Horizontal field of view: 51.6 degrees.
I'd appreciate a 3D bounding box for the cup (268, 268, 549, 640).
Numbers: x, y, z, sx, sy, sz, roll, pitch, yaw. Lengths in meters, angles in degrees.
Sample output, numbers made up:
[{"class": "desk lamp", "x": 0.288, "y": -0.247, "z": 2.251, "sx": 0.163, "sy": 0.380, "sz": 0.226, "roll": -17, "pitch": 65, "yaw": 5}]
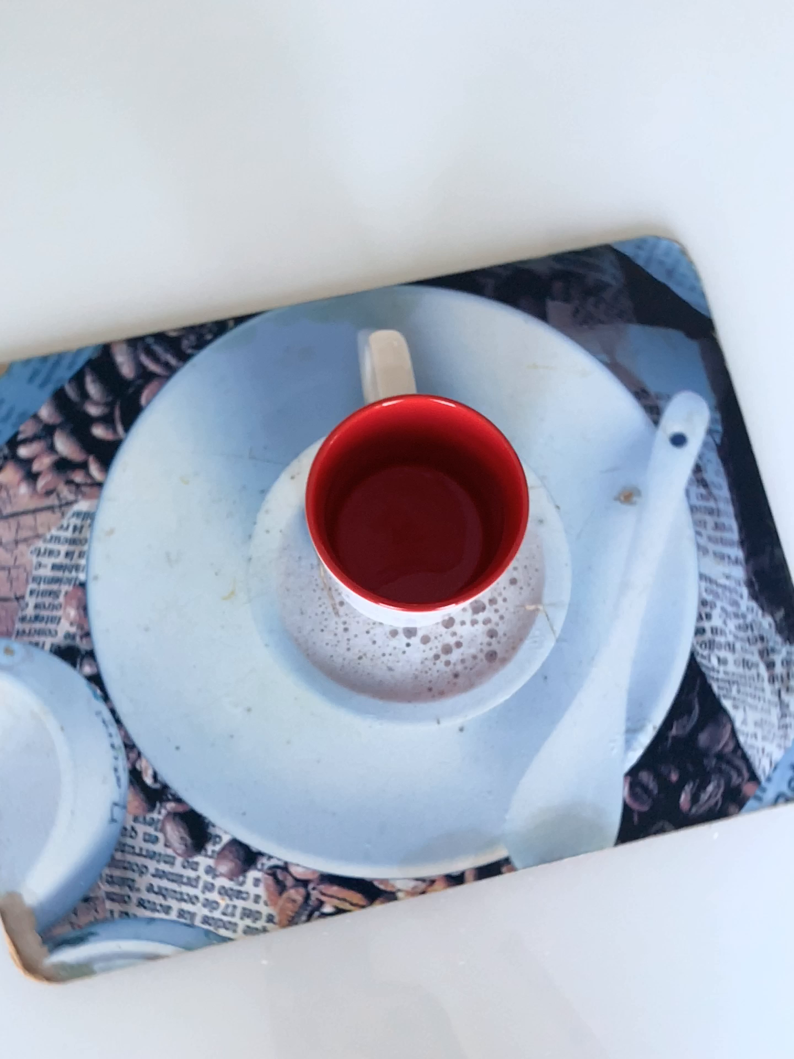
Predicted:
[{"class": "cup", "x": 0.001, "y": -0.021, "z": 0.341, "sx": 0.077, "sy": 0.115, "sz": 0.117, "roll": -10, "pitch": 81, "yaw": -3}]
